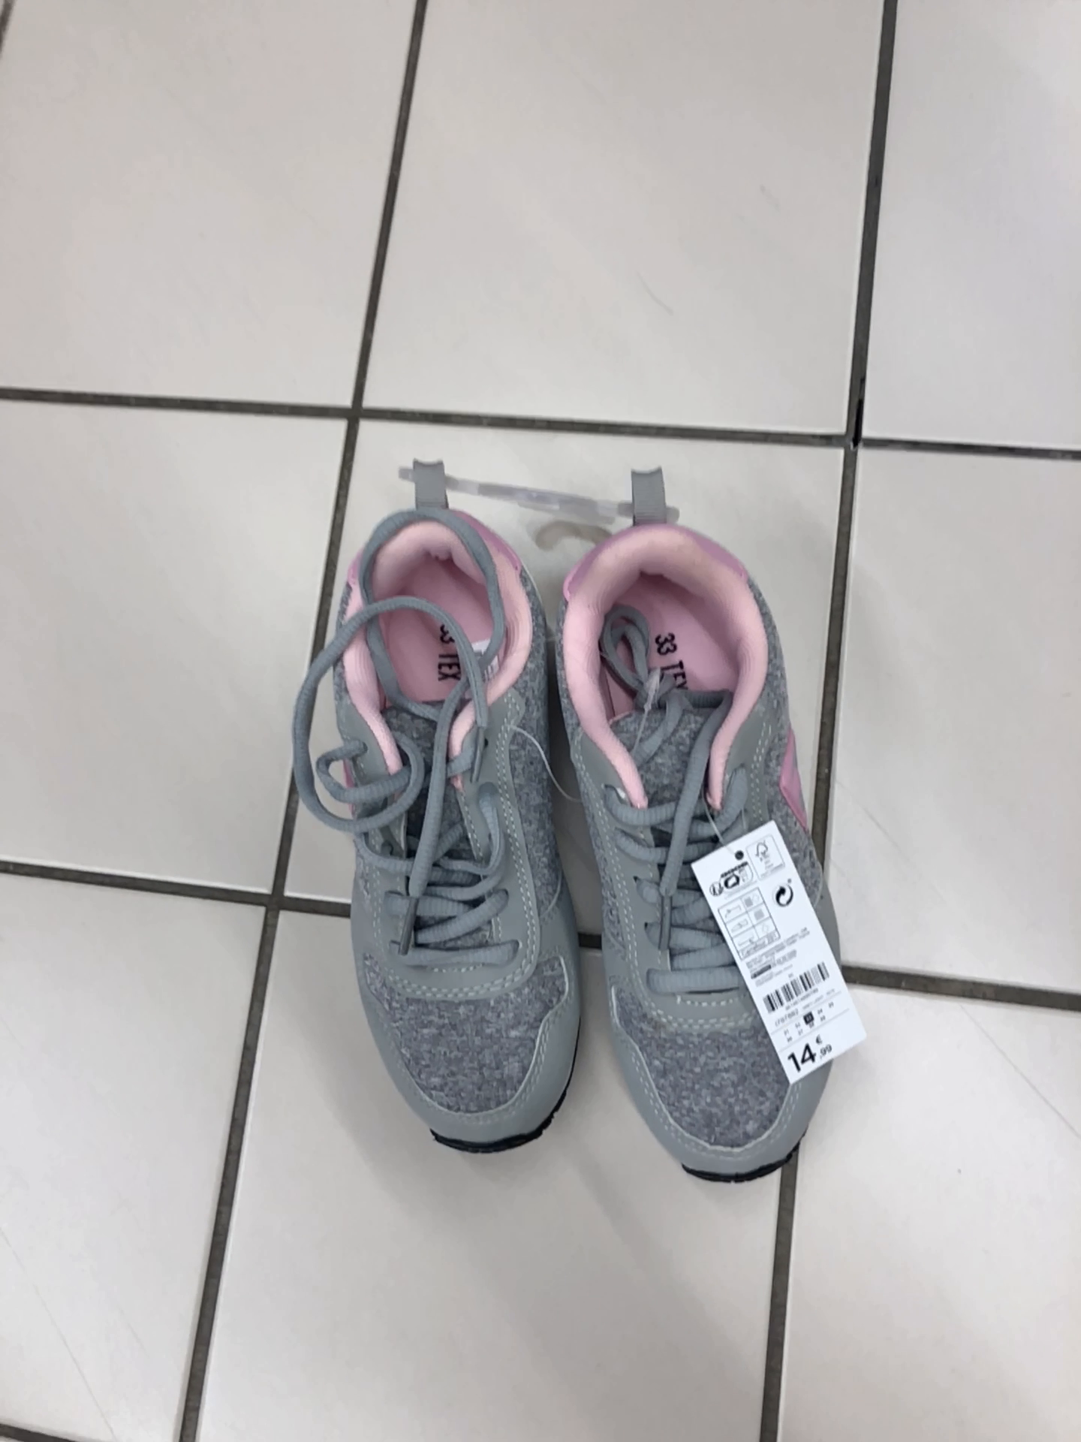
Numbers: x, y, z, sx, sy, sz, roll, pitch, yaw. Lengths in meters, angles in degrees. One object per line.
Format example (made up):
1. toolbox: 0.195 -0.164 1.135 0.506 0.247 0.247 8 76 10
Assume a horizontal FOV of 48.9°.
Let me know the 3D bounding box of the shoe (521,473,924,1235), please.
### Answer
1. shoe: 0.055 0.041 0.392 0.082 0.084 0.214 -10 78 6

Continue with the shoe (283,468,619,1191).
1. shoe: -0.029 0.036 0.405 0.082 0.084 0.214 -7 78 7
